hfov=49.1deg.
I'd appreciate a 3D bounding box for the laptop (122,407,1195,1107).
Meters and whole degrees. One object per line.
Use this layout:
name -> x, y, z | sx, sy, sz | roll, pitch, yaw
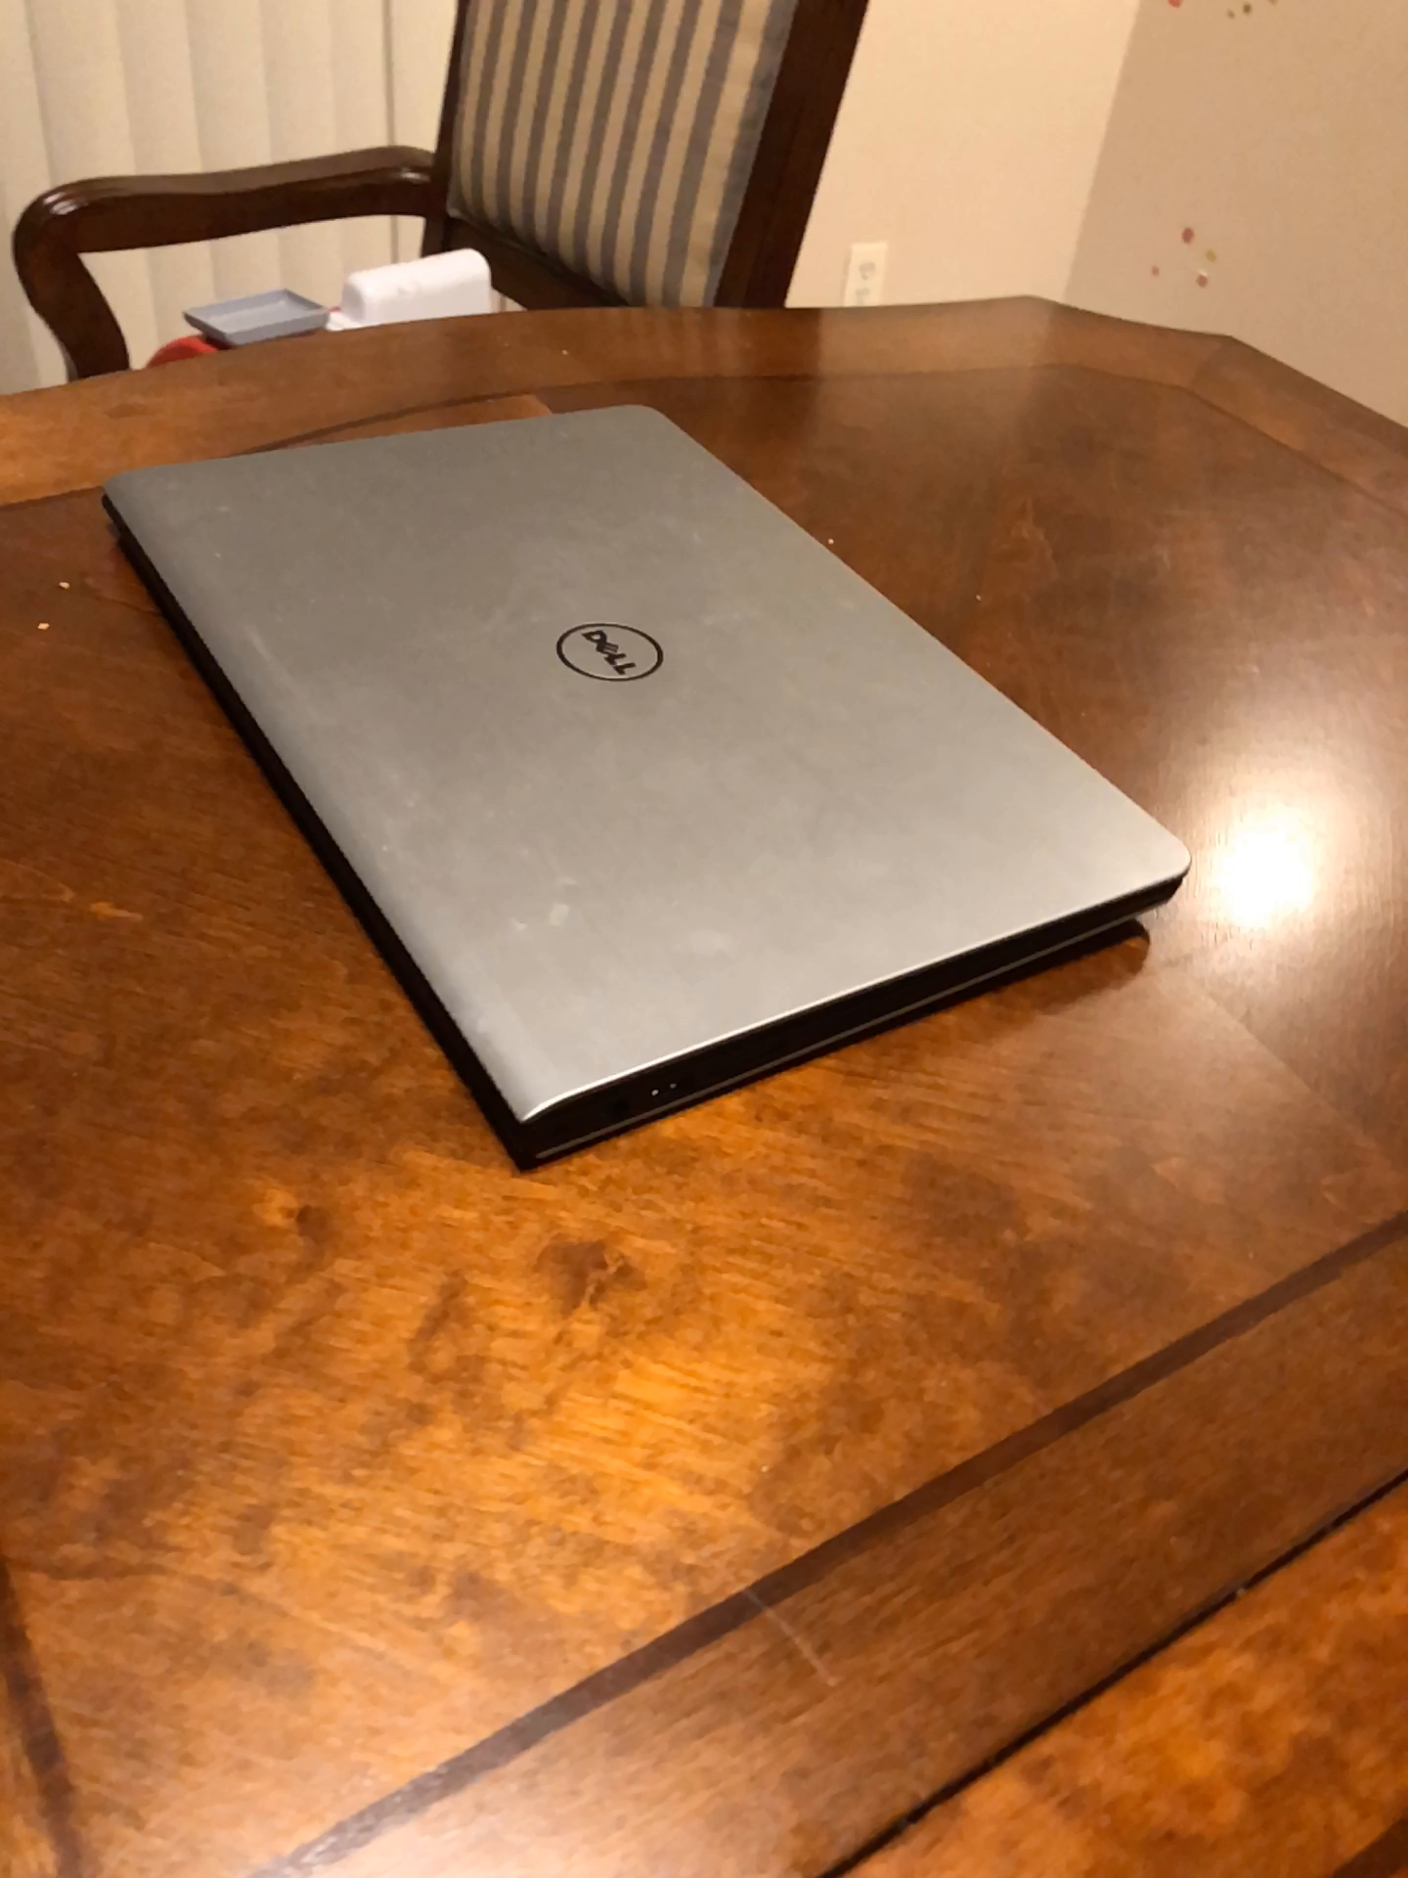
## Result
laptop -> -0.035, -0.104, 0.562 | 0.244, 0.002, 0.365 | -18, 48, -27
